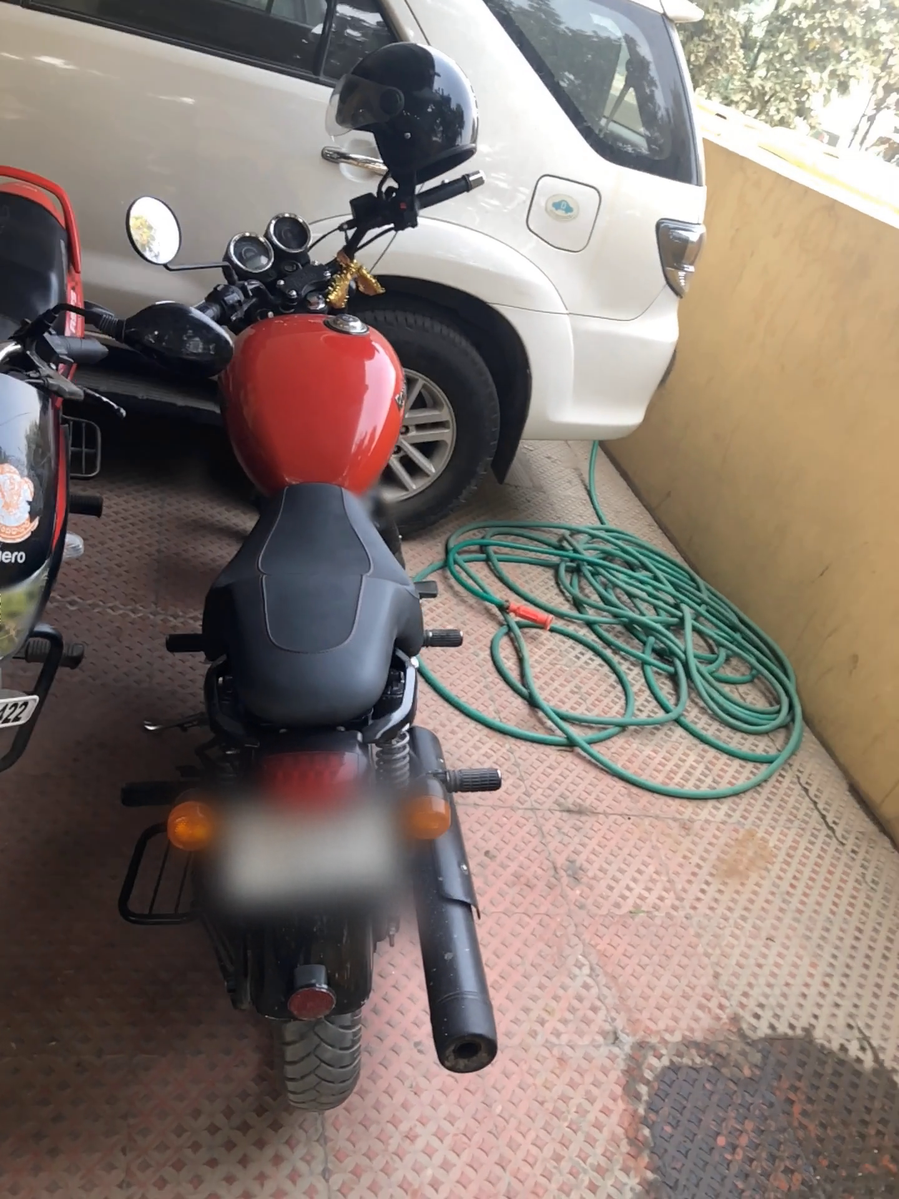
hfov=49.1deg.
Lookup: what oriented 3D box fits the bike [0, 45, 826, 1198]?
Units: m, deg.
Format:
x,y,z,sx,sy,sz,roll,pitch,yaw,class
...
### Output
x,y,z,sx,sy,sz,roll,pitch,yaw,class
-0.379,-0.116,1.830,0.820,1.270,1.722,9,31,-18,bike
